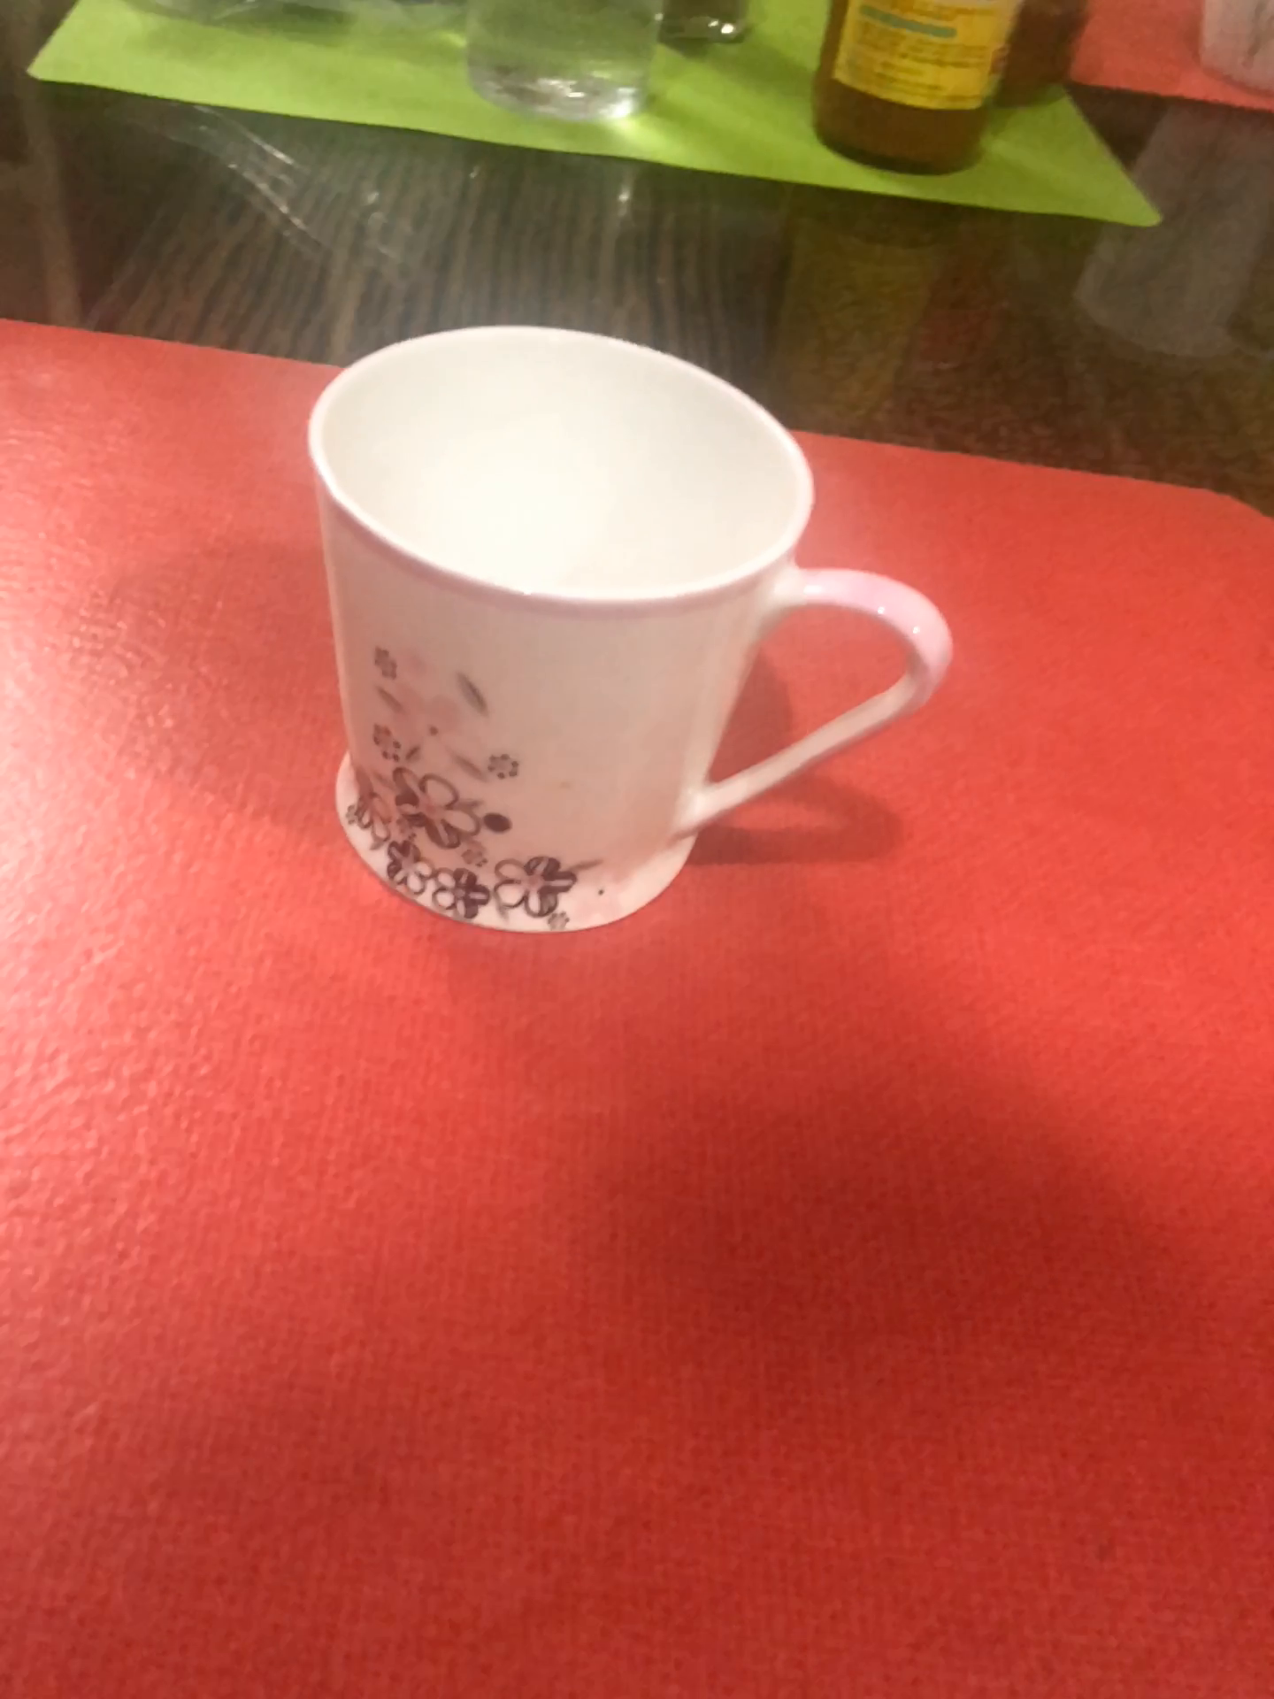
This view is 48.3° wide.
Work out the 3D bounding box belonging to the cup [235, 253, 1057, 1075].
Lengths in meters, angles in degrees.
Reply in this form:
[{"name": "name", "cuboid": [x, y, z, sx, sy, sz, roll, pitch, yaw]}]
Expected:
[{"name": "cup", "cuboid": [0.002, -0.029, 0.222, 0.100, 0.080, 0.070, 15, 44, 4]}]
